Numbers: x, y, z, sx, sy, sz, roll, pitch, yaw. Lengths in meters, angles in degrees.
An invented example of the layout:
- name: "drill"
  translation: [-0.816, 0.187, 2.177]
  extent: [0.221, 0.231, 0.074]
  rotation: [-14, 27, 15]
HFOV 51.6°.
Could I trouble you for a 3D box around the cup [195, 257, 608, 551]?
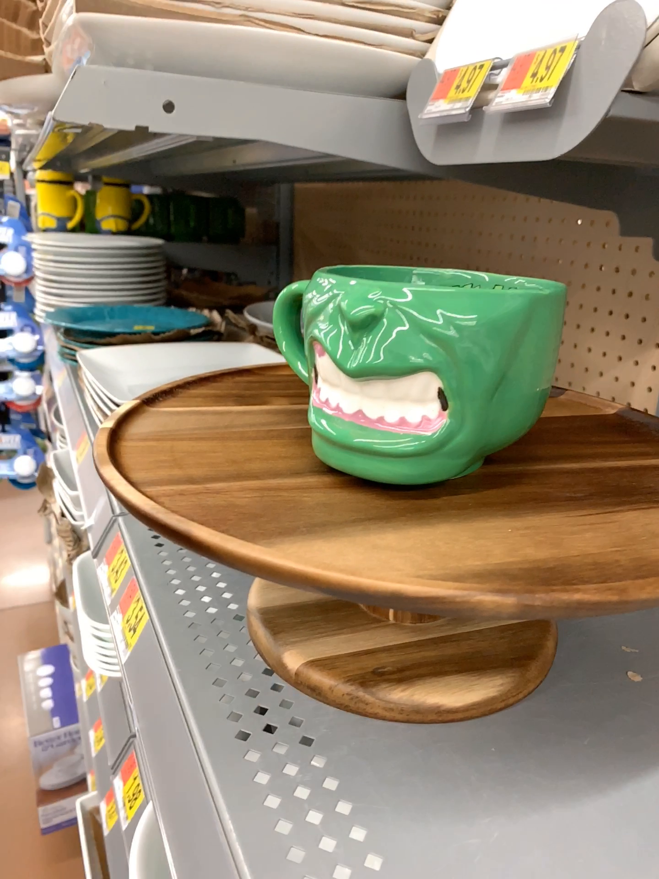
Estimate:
- name: "cup"
  translation: [0.034, -0.033, 0.324]
  extent: [0.140, 0.090, 0.130]
  rotation: [2, 19, -1]
